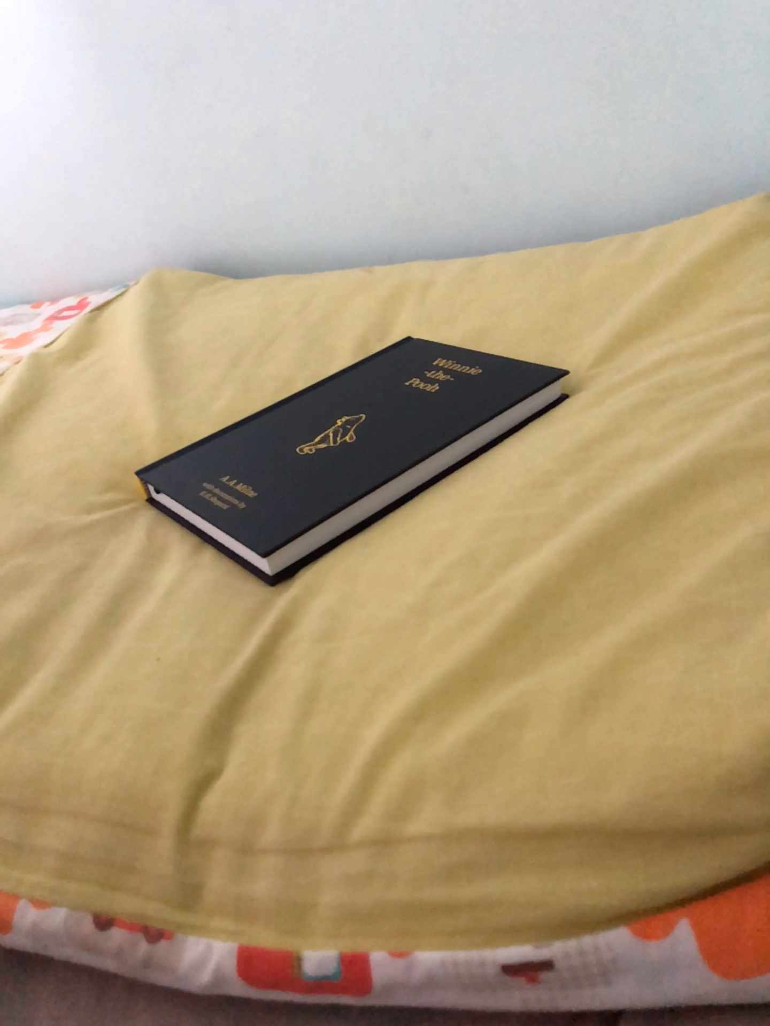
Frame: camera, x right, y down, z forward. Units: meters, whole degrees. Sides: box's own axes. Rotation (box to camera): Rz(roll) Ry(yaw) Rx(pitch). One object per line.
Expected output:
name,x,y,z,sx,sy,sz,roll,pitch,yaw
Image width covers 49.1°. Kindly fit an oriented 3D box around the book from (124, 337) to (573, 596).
book,-0.021,-0.043,0.495,0.221,0.020,0.150,-32,35,-28
